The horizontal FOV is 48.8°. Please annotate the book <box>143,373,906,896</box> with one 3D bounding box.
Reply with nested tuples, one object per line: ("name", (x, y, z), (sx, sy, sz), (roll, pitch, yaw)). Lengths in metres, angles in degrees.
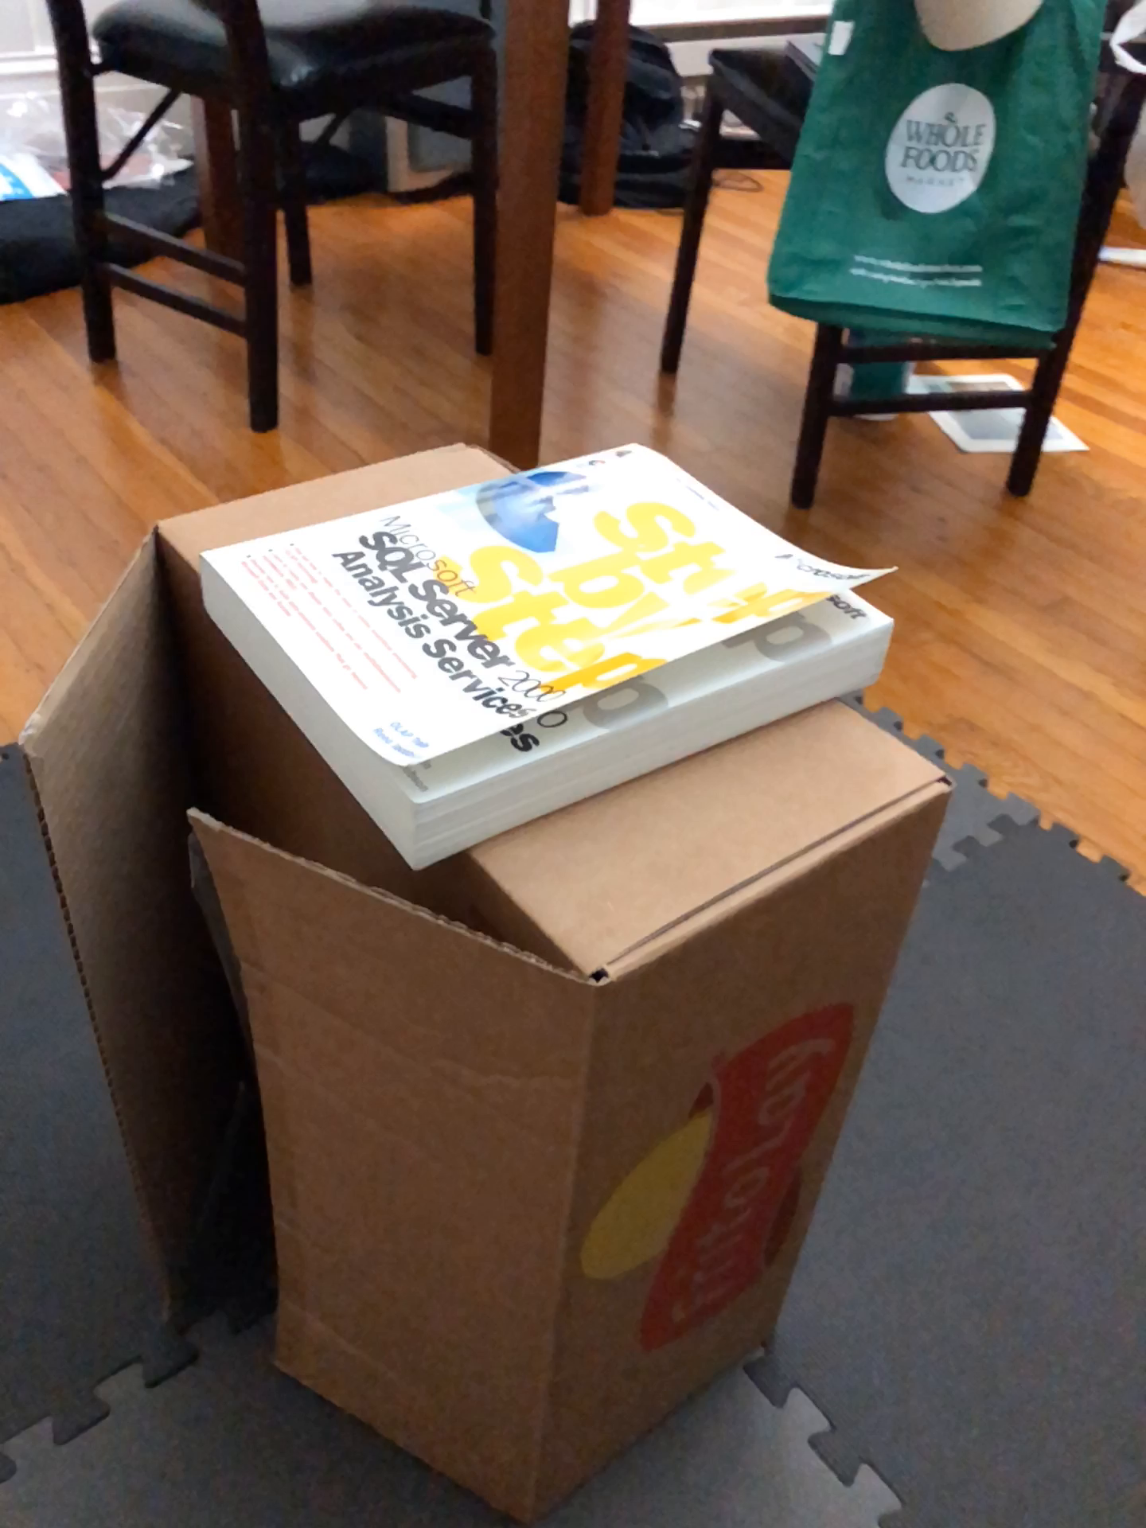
("book", (-0.021, -0.075, 0.532), (0.241, 0.050, 0.201), (-24, 51, -29))
